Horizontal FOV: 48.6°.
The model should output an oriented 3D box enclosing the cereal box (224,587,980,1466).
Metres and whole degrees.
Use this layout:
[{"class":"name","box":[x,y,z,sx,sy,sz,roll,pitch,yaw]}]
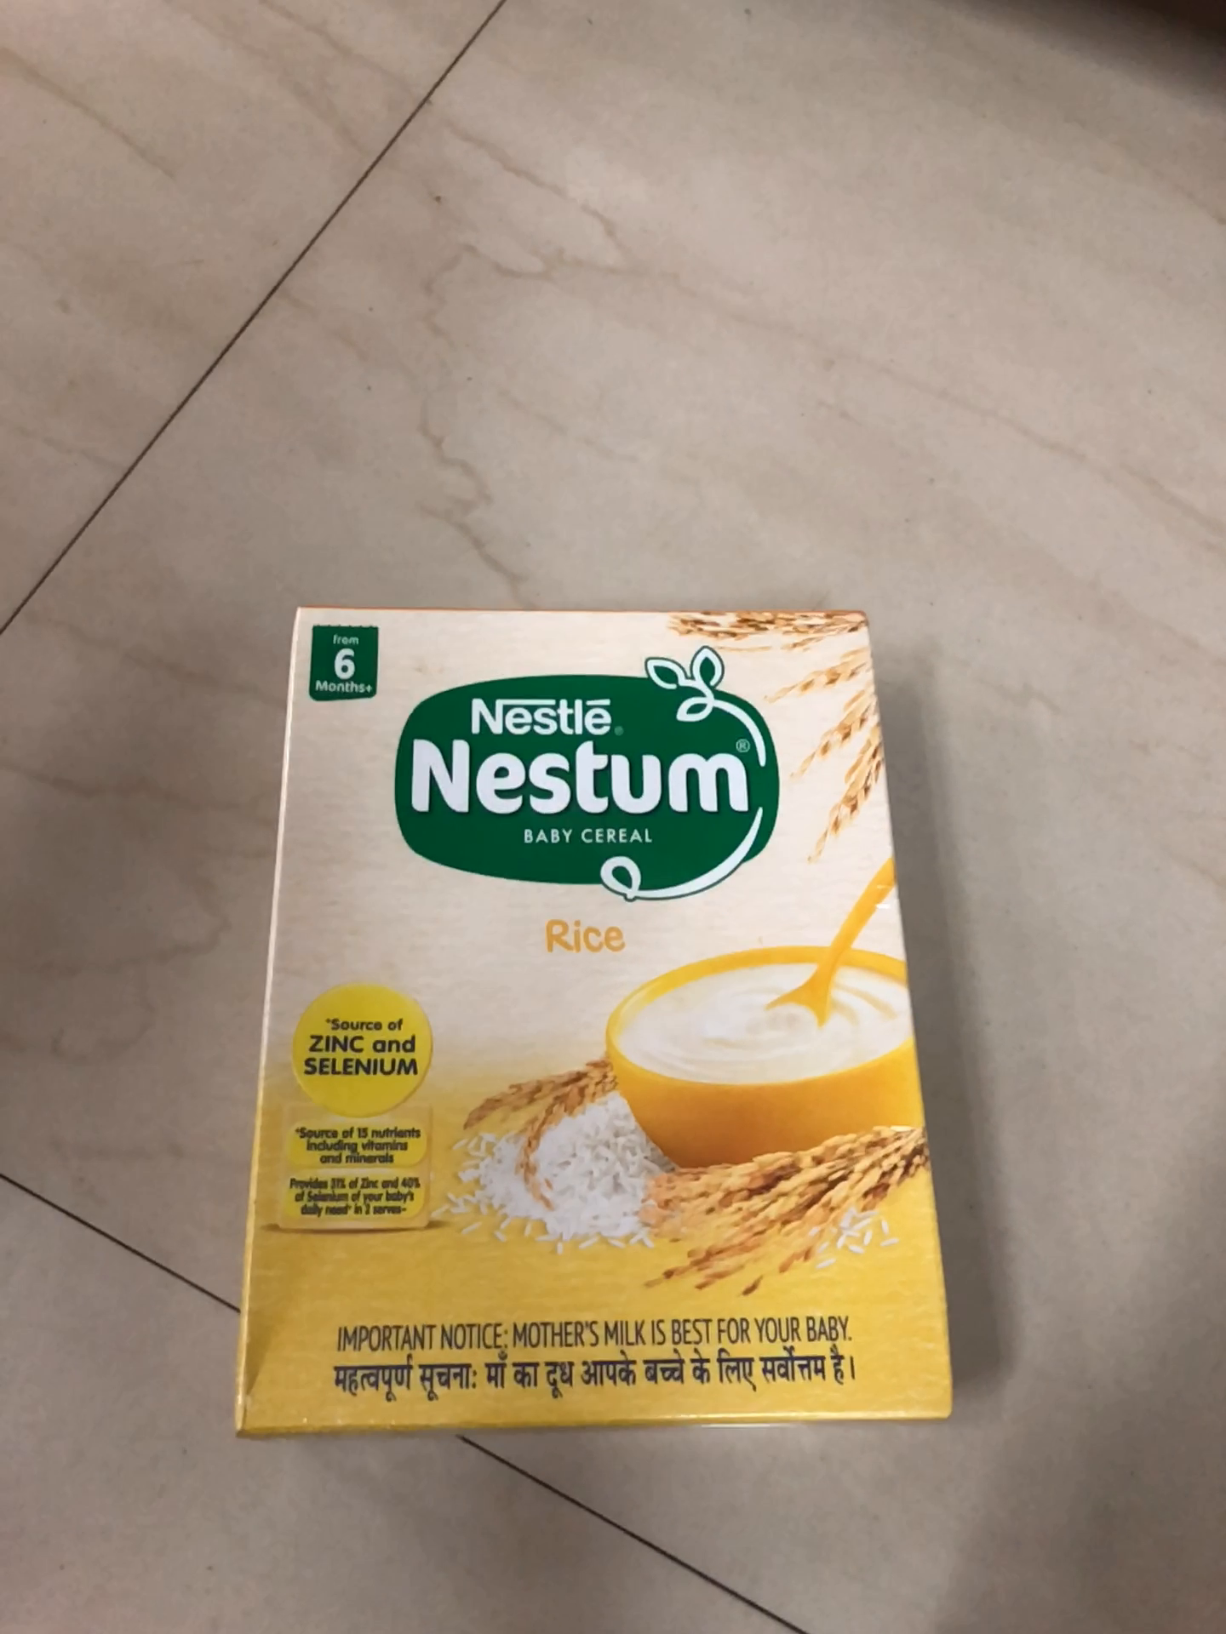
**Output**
[{"class":"cereal box","box":[-0.004,0.046,0.335,0.150,0.060,0.200,0,68,-2]}]
